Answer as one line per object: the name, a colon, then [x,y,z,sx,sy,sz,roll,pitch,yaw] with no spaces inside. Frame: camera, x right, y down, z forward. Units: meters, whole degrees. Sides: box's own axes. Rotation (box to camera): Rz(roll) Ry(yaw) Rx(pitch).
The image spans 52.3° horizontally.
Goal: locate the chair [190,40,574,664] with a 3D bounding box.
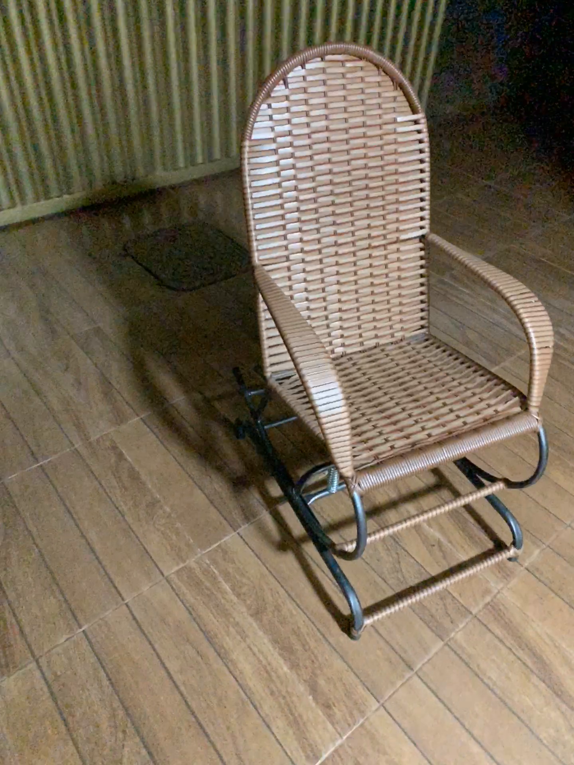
chair: [0.220,-0.085,1.328,0.600,1.050,0.785,-15,44,-21]
